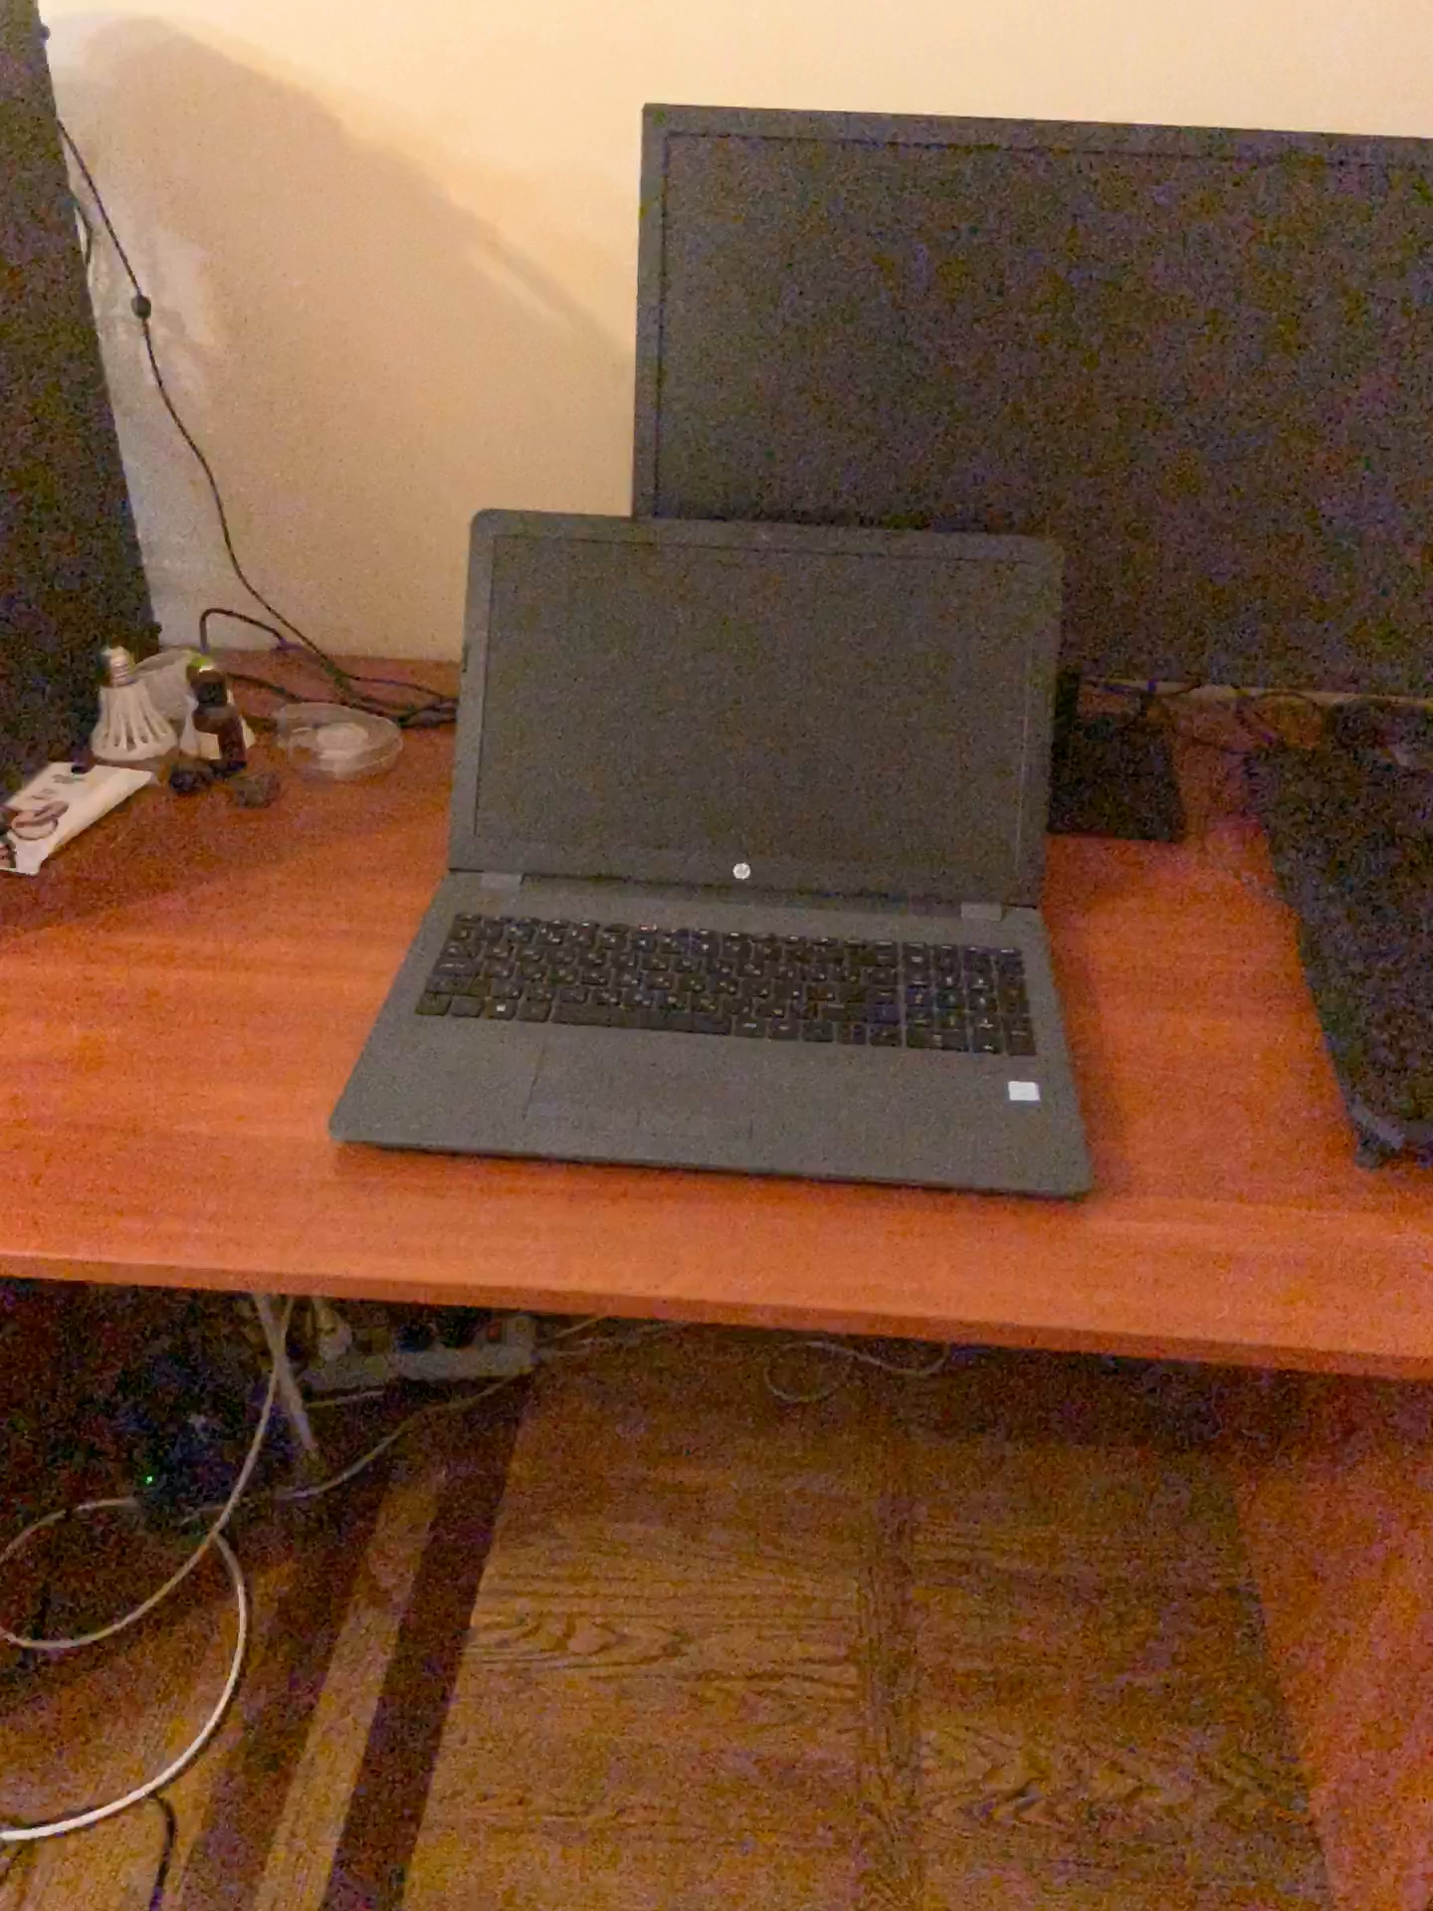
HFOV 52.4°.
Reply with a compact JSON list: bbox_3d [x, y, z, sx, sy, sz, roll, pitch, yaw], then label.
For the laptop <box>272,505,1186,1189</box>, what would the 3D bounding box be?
[{"bbox_3d":[0.014,-0.088,0.806,0.372,0.188,0.394,4,33,2],"label":"laptop"}]
